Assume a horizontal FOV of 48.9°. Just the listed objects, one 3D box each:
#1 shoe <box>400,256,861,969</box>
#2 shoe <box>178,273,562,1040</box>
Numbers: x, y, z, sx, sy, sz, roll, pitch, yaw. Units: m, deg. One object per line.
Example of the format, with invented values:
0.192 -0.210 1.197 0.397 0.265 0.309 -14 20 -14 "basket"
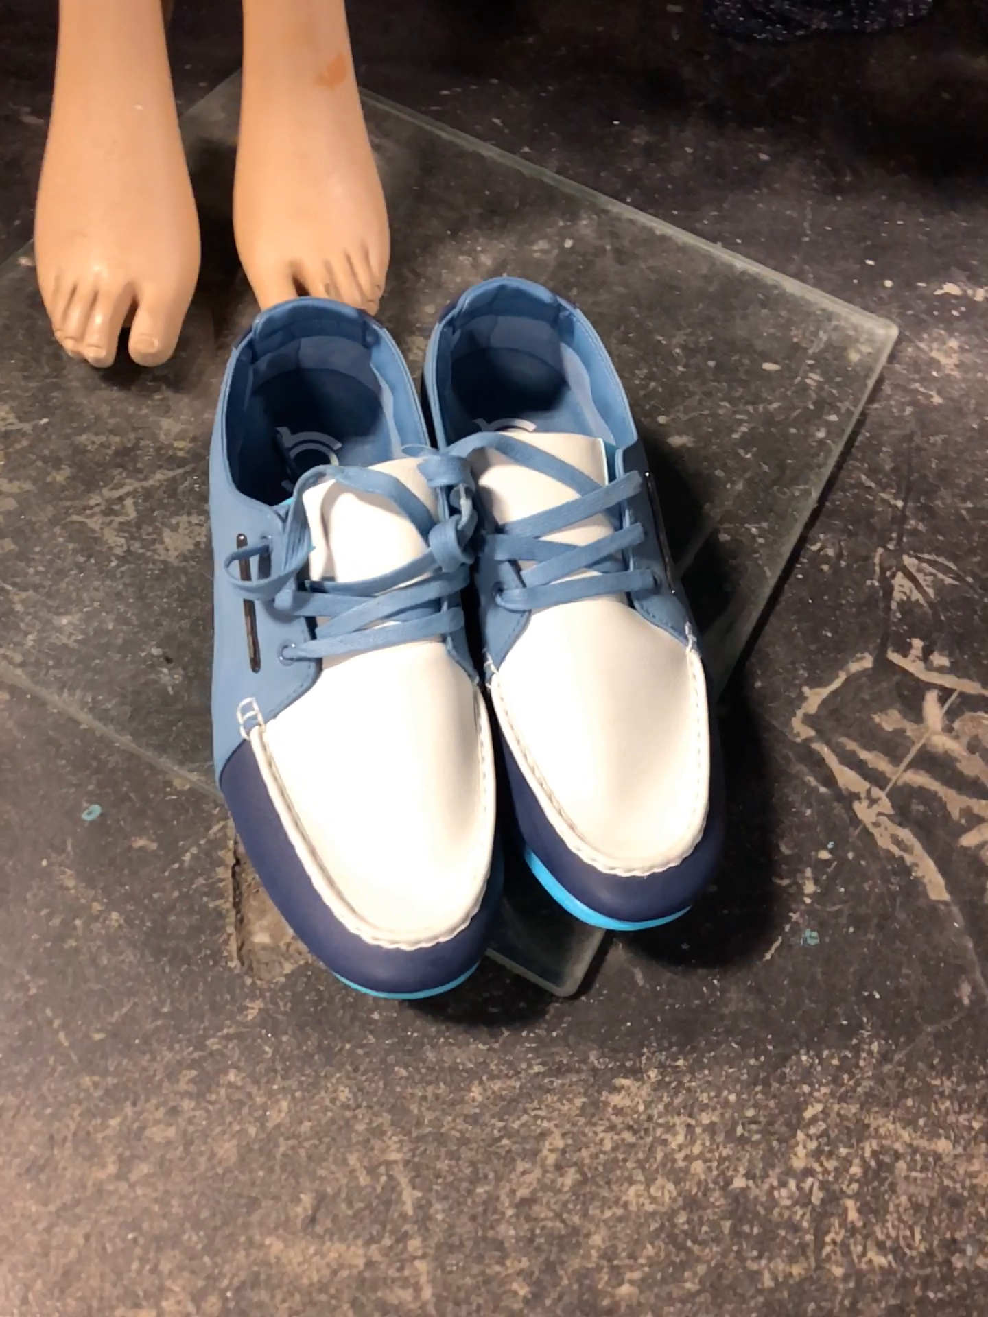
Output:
0.034 -0.025 0.421 0.100 0.099 0.251 -8 62 -8 "shoe"
-0.056 -0.010 0.402 0.090 0.099 0.261 -7 61 -11 "shoe"
